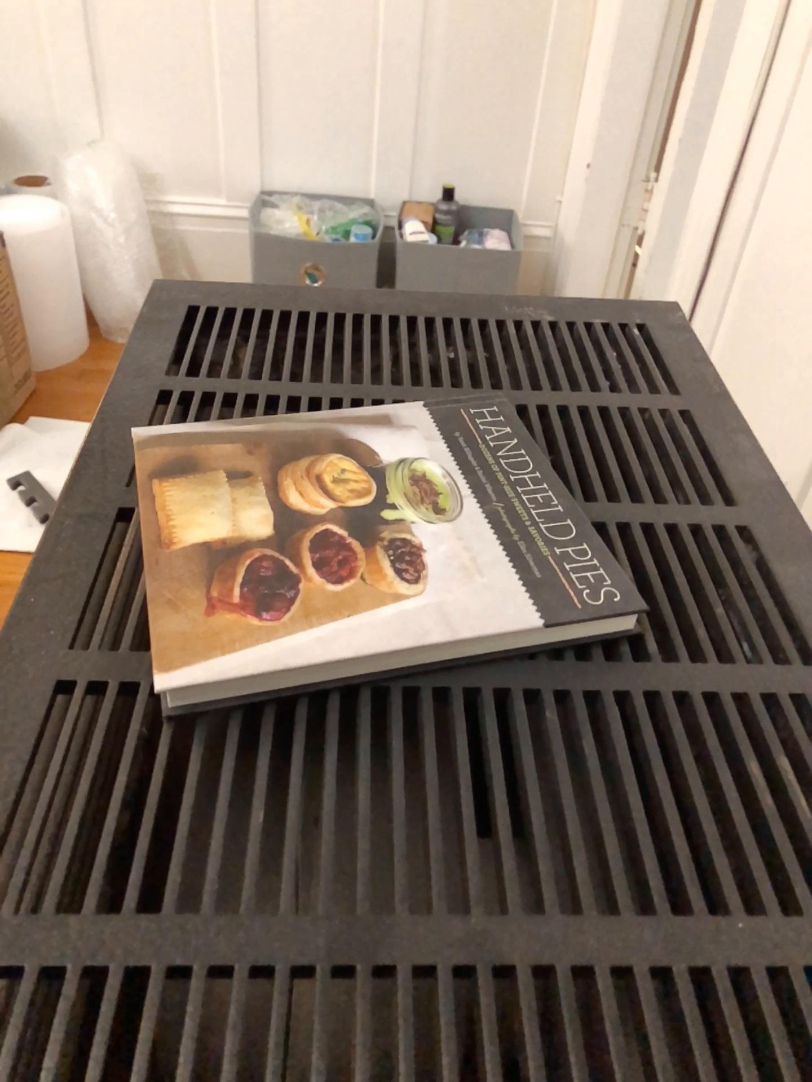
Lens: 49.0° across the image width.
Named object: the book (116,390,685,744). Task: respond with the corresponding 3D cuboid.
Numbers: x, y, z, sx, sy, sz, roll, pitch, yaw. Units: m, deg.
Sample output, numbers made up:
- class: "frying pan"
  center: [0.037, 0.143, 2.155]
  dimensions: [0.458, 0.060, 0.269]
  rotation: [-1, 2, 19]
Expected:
- class: "book"
  center: [-0.018, -0.007, 0.437]
  dimensions: [0.230, 0.020, 0.201]
  rotation: [-7, 40, -15]
